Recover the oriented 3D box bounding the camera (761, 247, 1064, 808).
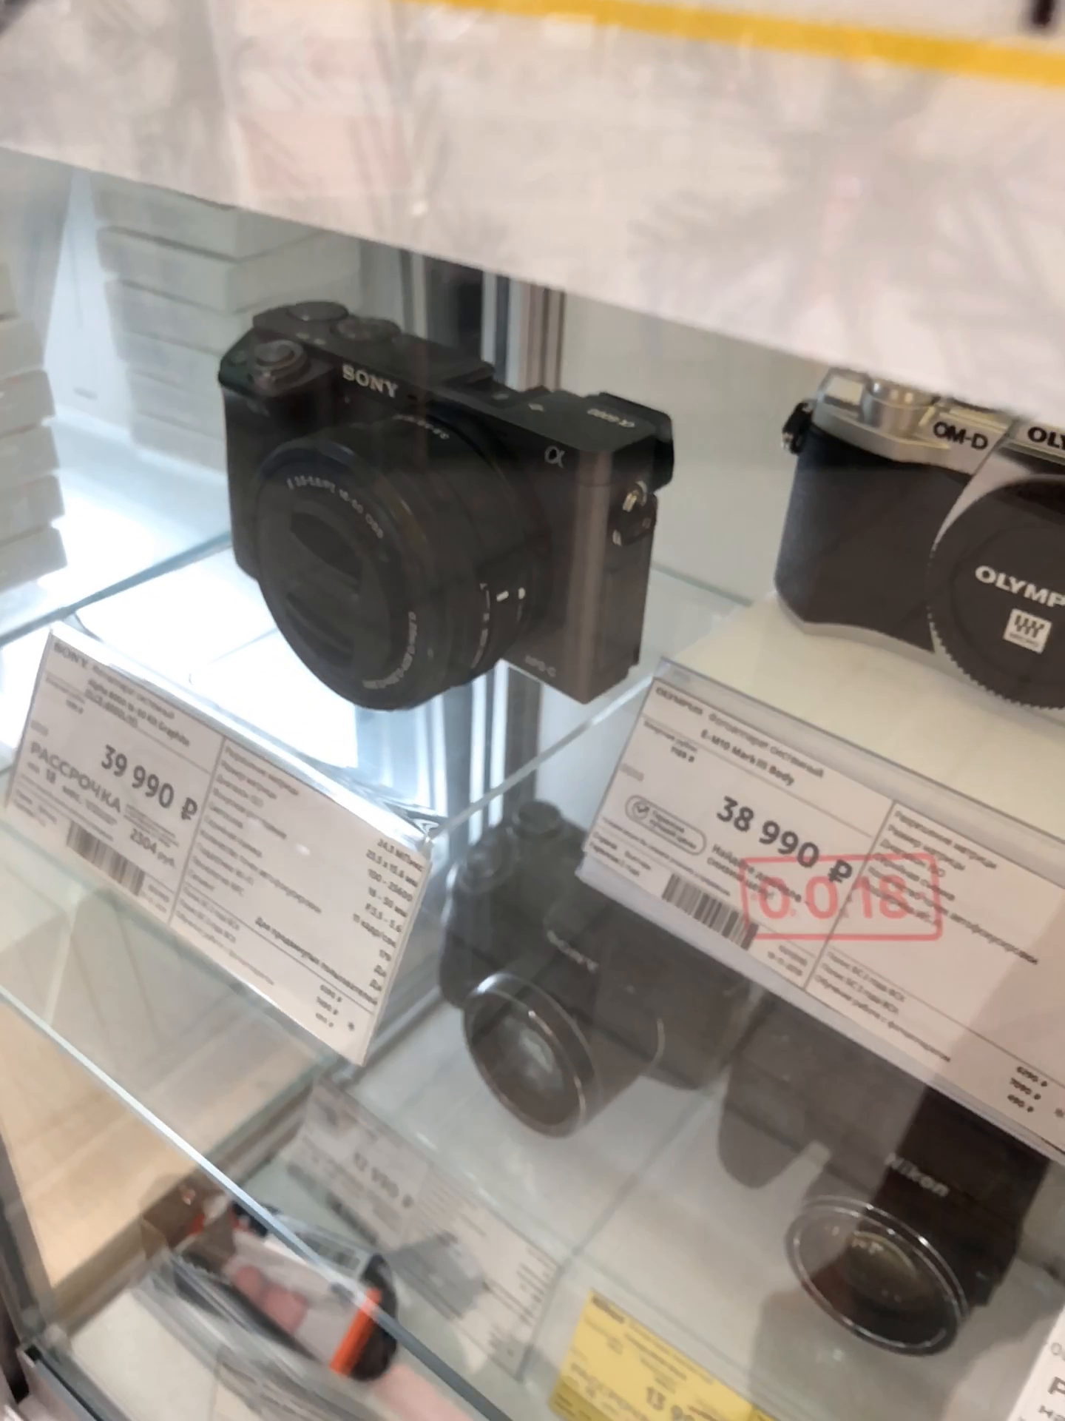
[{"bbox_3d":[0.138,-0.054,0.296,0.123,0.081,0.087,27,41,31],"label":"camera"}]

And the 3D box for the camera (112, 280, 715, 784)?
[{"bbox_3d":[-0.032,-0.052,0.296,0.130,0.070,0.066,27,41,31],"label":"camera"}]
